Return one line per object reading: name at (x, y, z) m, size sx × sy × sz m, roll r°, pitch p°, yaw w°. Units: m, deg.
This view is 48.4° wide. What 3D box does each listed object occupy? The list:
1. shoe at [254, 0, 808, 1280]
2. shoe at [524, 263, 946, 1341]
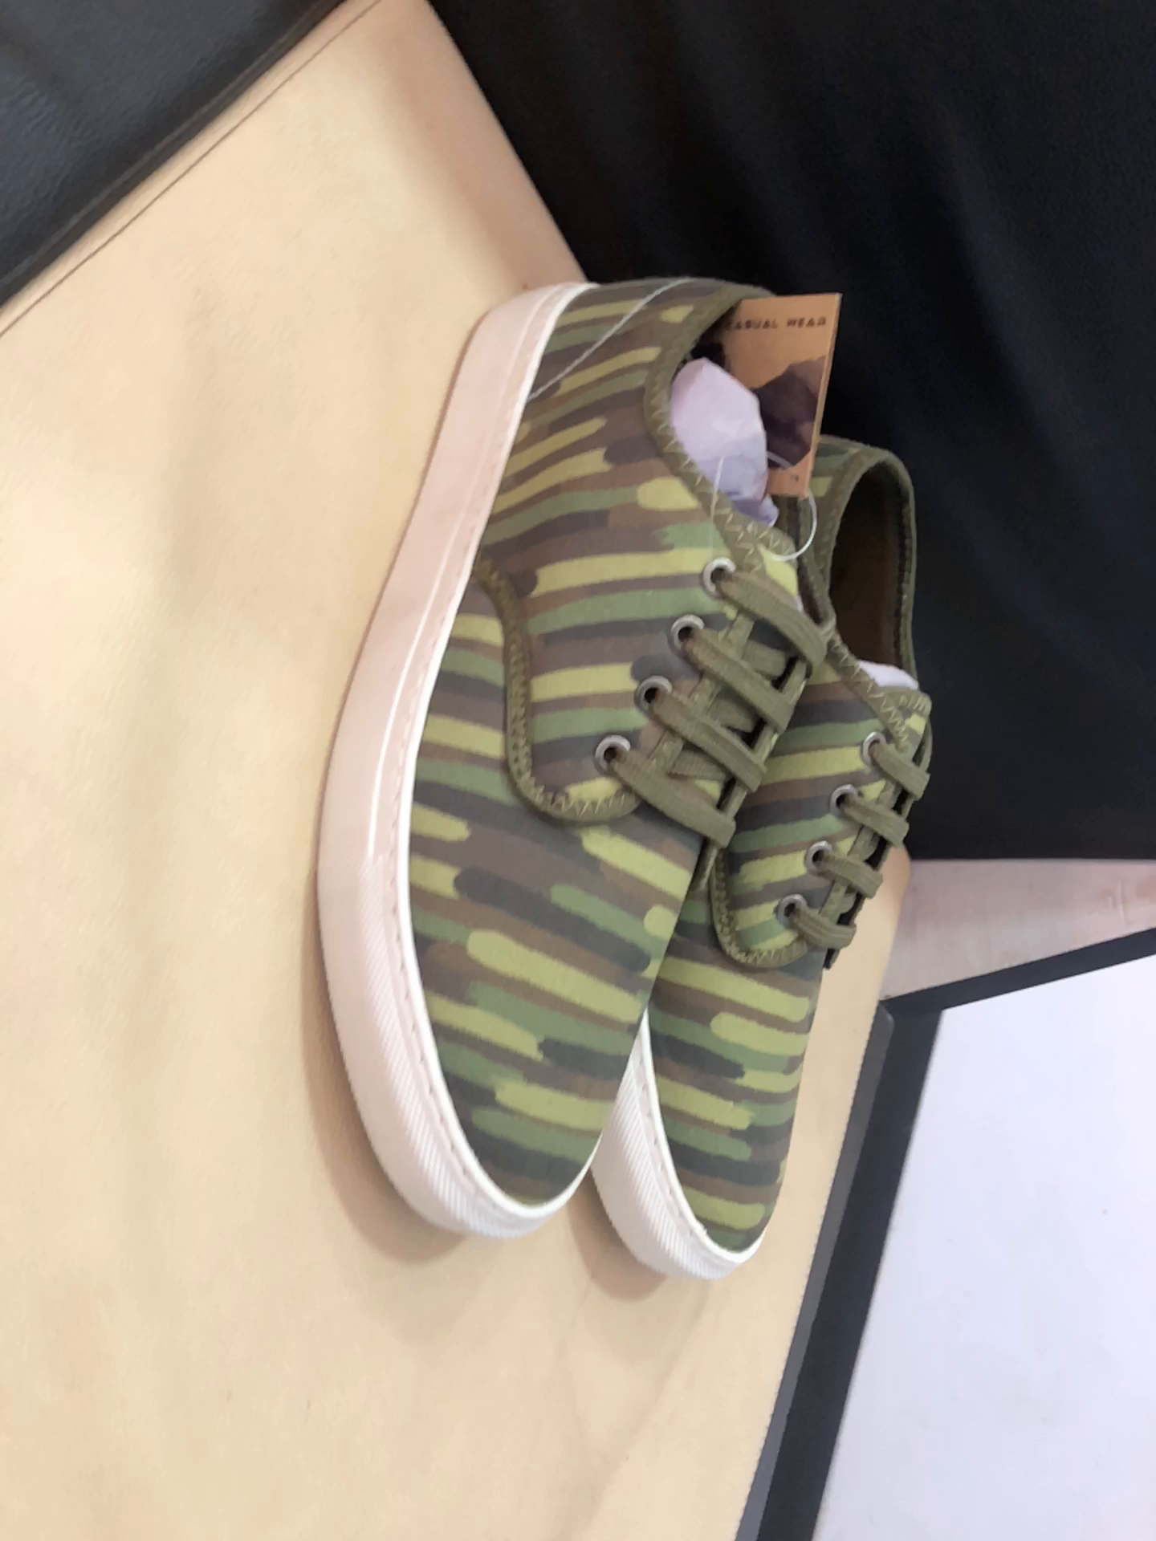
shoe at (-0.003, -0.033, 0.358) m, size 0.101 × 0.079 × 0.310 m, roll 20°, pitch 71°, yaw -50°
shoe at (0.060, 0.009, 0.425) m, size 0.101 × 0.079 × 0.310 m, roll 20°, pitch 71°, yaw -50°
